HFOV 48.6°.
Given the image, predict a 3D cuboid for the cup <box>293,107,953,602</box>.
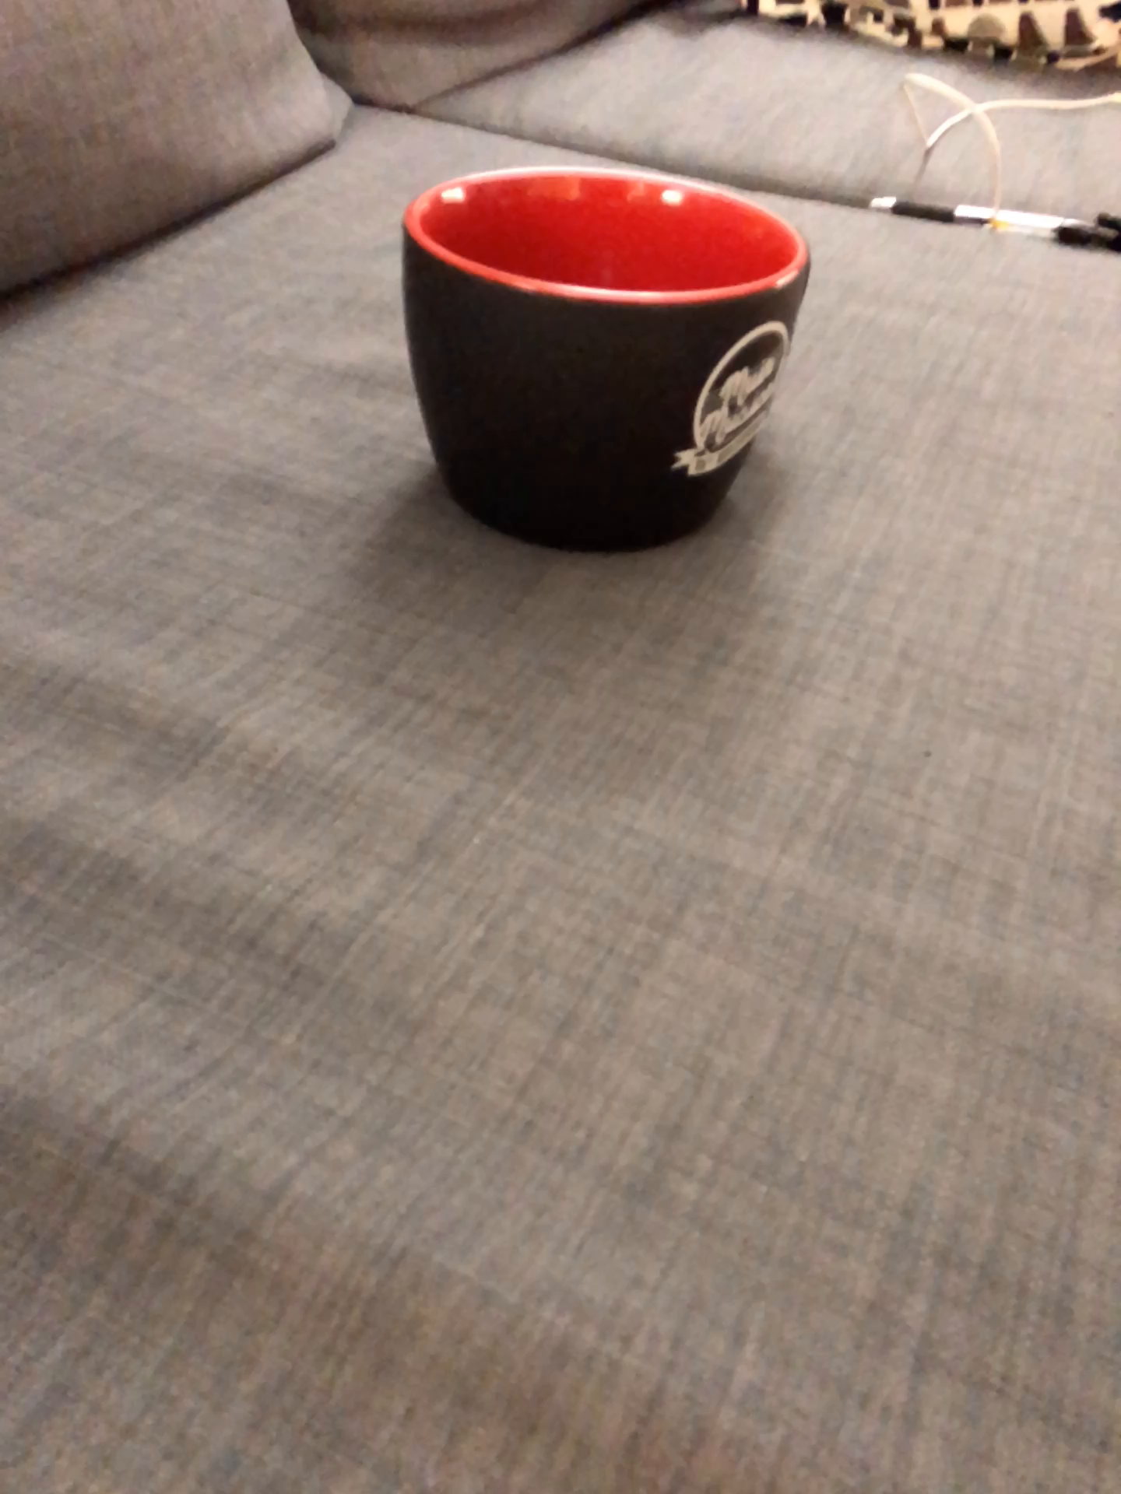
[{"bbox_3d":[0.021,-0.135,0.394,0.120,0.080,0.160,33,49,30],"label":"cup"}]
